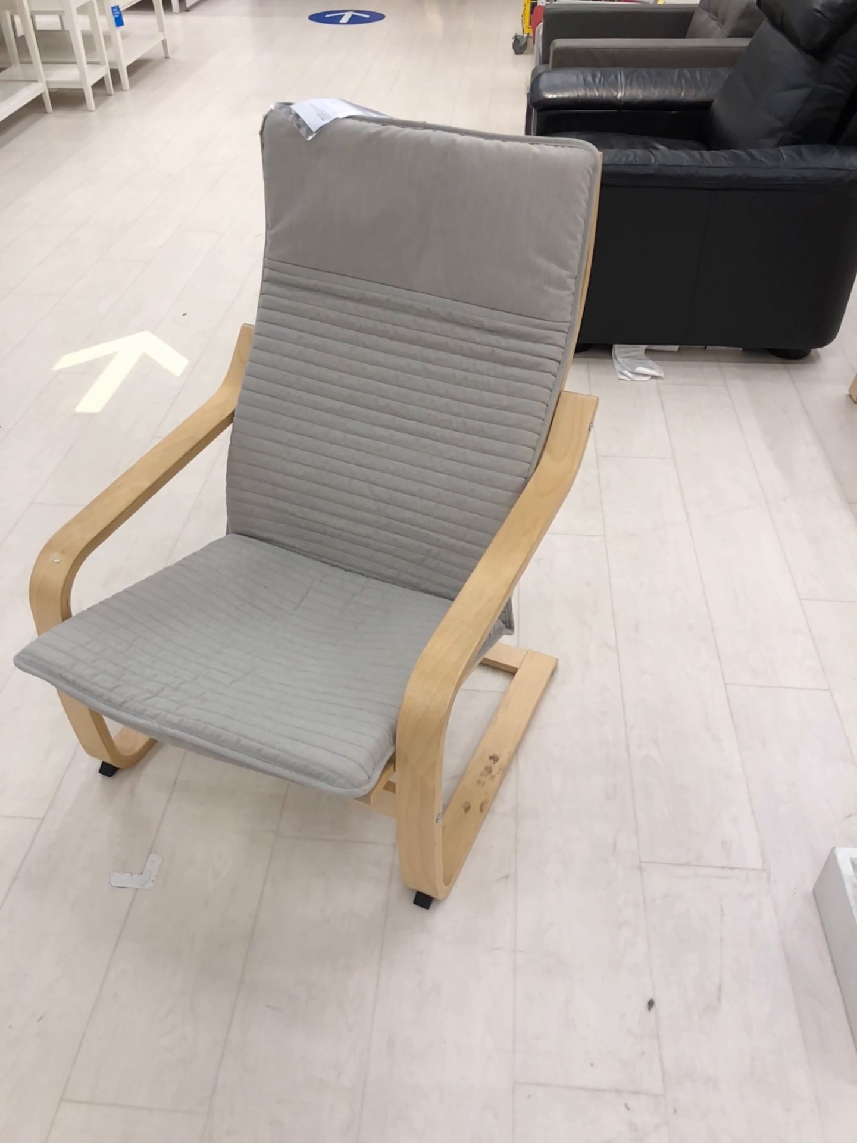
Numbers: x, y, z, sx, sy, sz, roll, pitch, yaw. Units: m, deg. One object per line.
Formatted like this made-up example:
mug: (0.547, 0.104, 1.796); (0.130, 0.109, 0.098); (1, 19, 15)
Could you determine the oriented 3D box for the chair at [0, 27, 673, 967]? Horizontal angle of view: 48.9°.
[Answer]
chair: (-0.179, -0.138, 1.373); (0.731, 0.996, 0.702); (18, 42, 21)
